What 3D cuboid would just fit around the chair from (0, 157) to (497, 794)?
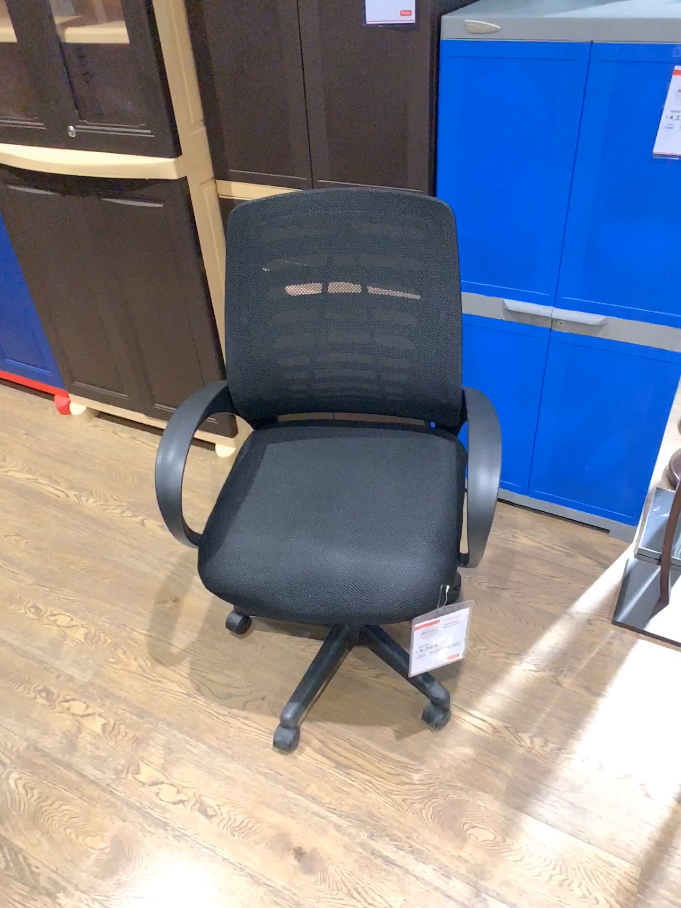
[{"bbox_3d":[-0.052,0.057,1.300,0.600,0.996,0.602,4,39,11],"label":"chair"}]
